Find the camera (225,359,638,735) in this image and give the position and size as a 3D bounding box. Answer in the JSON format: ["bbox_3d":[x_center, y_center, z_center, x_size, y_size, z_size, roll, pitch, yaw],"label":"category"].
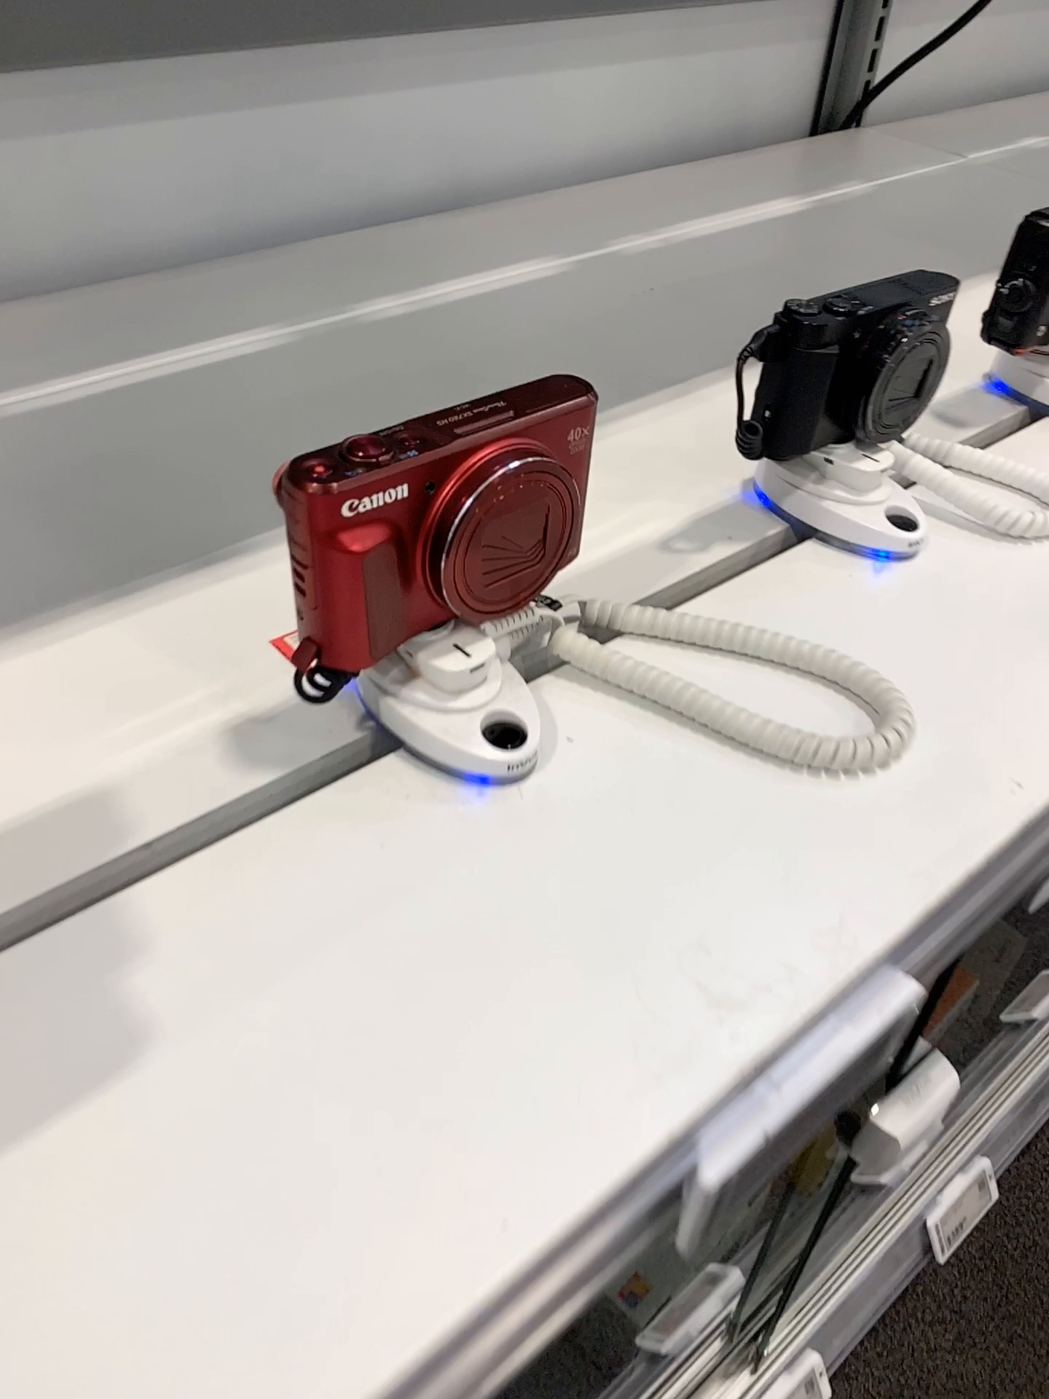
[{"bbox_3d":[-0.025,-0.051,0.335,0.120,0.070,0.040,-29,50,-32],"label":"camera"}]
